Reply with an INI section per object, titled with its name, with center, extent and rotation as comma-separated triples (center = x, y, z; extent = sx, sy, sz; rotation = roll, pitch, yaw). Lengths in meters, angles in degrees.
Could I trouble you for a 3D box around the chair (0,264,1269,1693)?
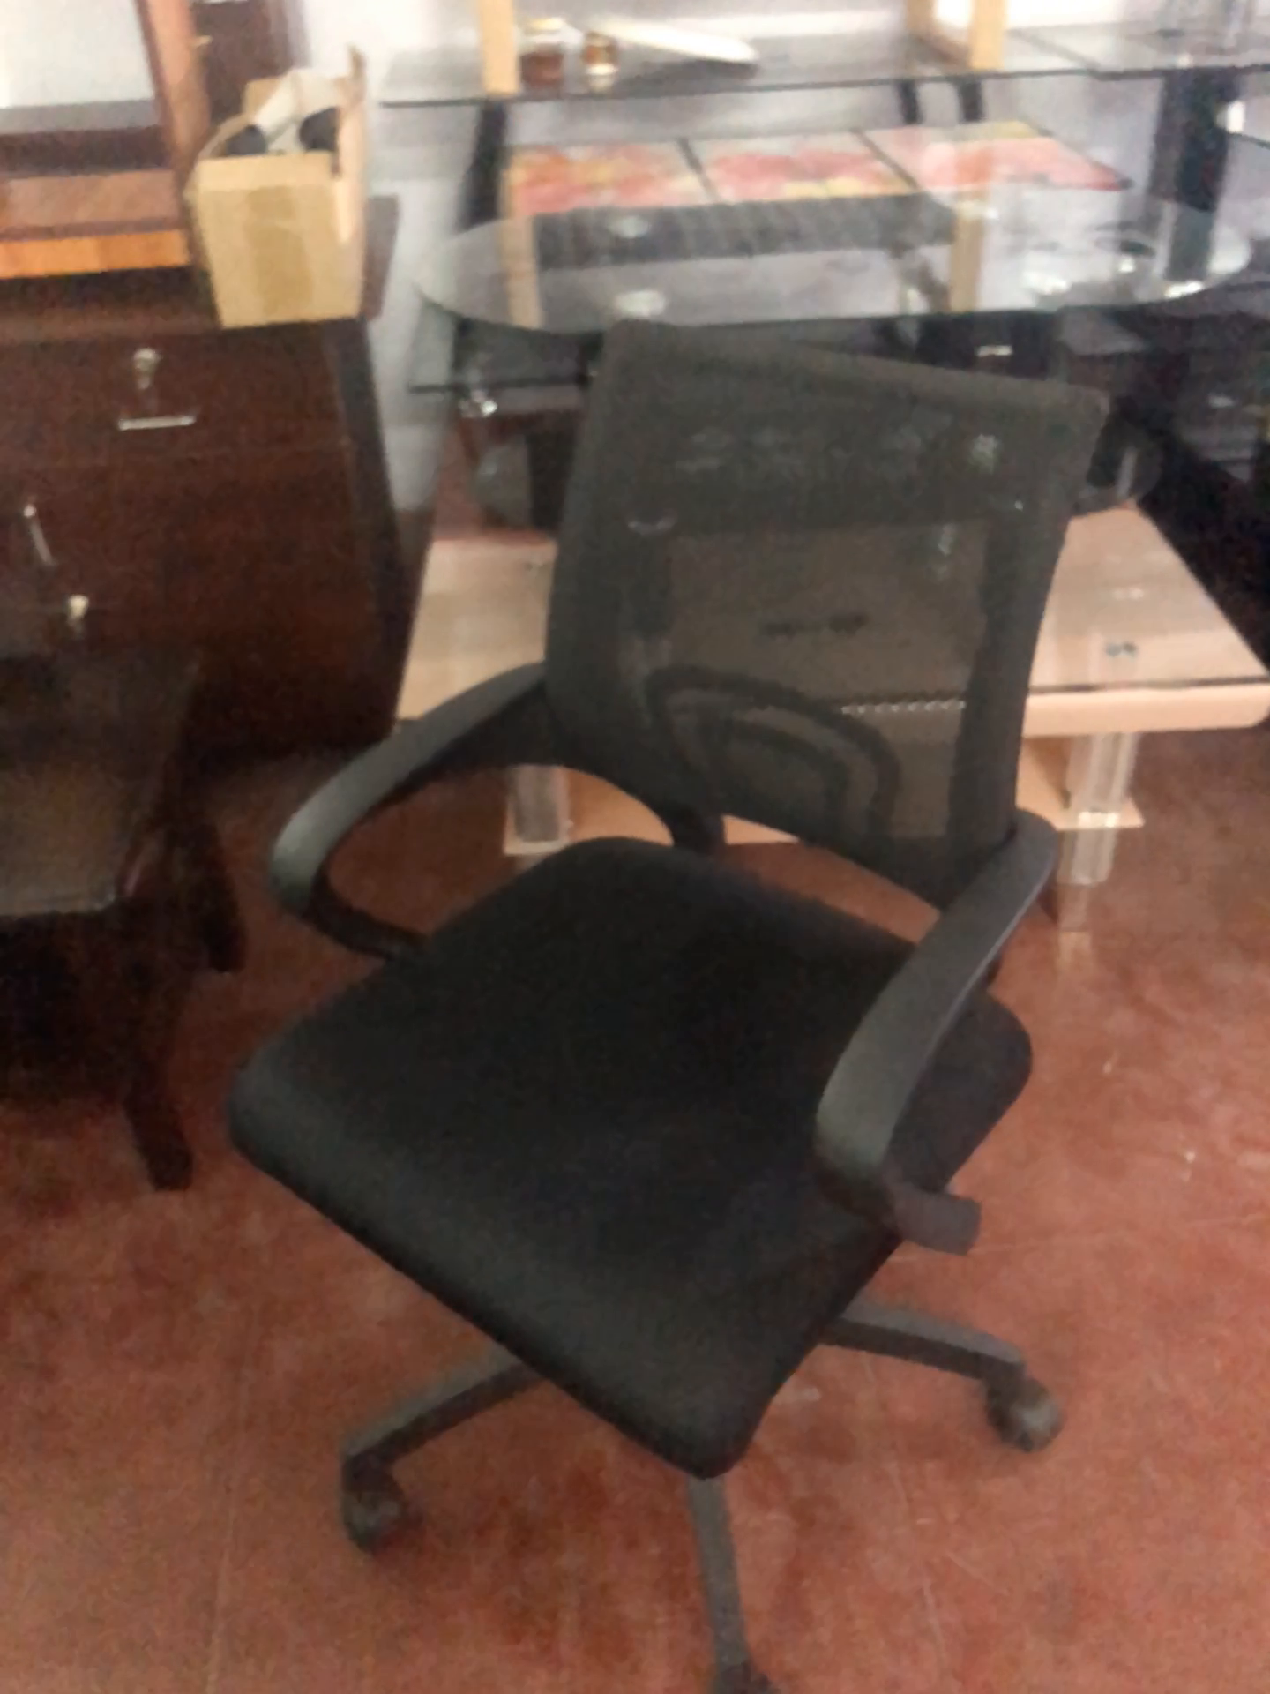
[chair]
center = 0.004, 0.125, 1.148
extent = 0.751, 0.915, 0.633
rotation = 23, 43, 31
